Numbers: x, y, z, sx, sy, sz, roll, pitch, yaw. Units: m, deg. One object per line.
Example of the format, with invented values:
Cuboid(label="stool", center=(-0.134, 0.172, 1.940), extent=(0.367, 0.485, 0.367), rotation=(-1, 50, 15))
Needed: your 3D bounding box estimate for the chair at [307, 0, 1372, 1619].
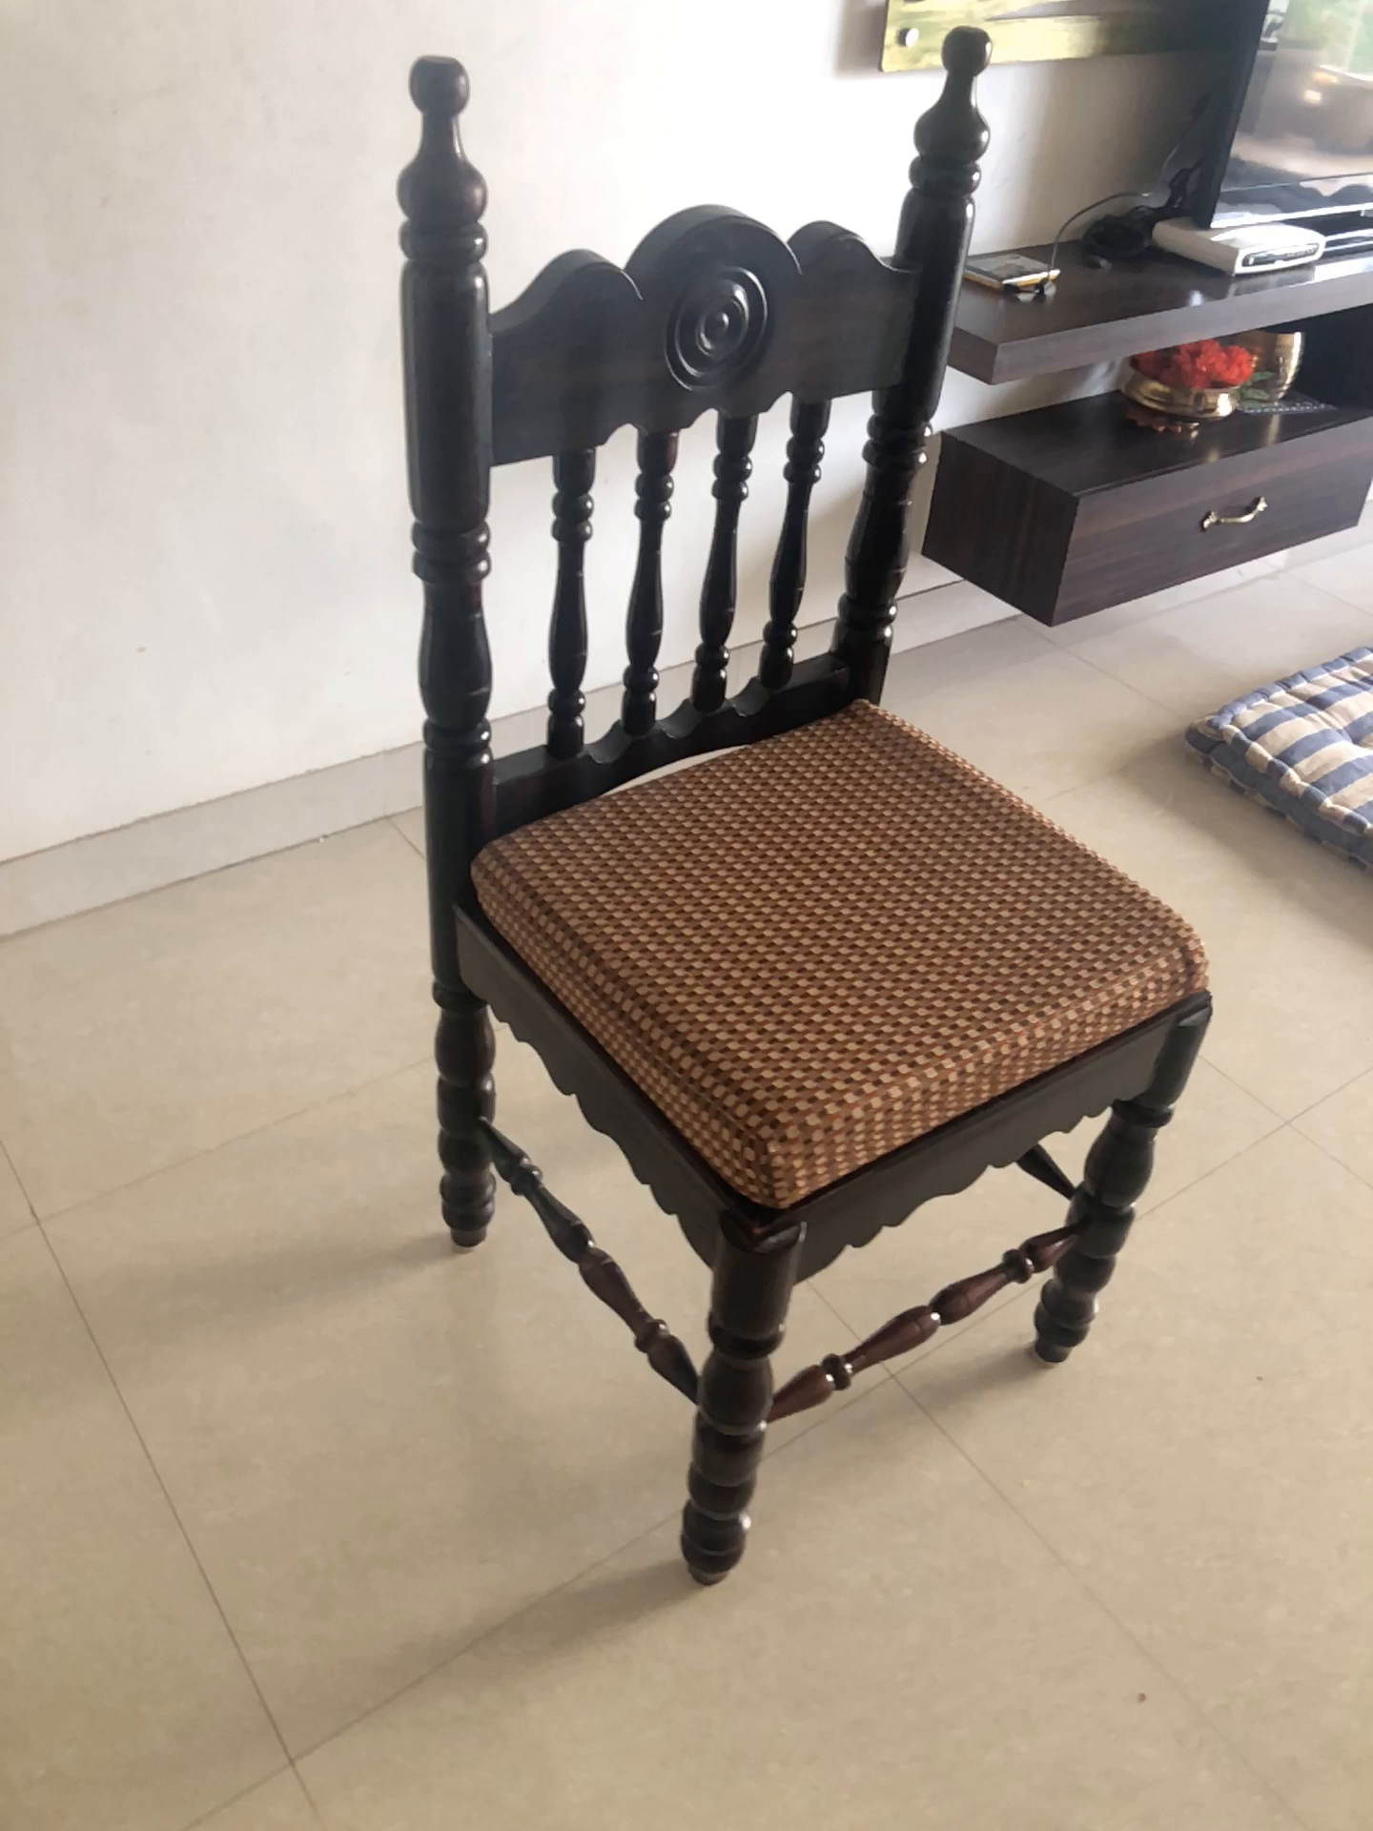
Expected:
Cuboid(label="chair", center=(0.102, -0.075, 1.172), extent=(0.502, 1.022, 0.562), rotation=(-21, 45, -29))
